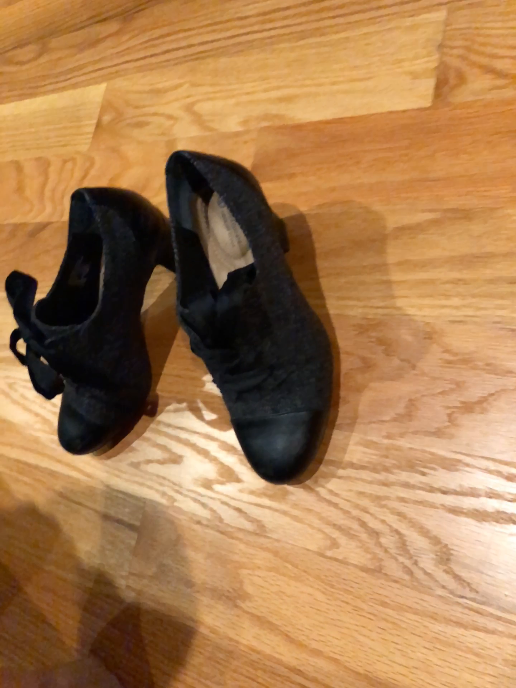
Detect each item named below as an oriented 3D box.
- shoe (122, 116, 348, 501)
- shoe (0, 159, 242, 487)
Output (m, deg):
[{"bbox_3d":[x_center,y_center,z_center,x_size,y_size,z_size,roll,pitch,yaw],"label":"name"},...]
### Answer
[{"bbox_3d":[-0.009,-0.011,0.388,0.088,0.125,0.223,-10,71,29],"label":"shoe"},{"bbox_3d":[-0.133,-0.008,0.463,0.093,0.125,0.223,31,93,34],"label":"shoe"}]
